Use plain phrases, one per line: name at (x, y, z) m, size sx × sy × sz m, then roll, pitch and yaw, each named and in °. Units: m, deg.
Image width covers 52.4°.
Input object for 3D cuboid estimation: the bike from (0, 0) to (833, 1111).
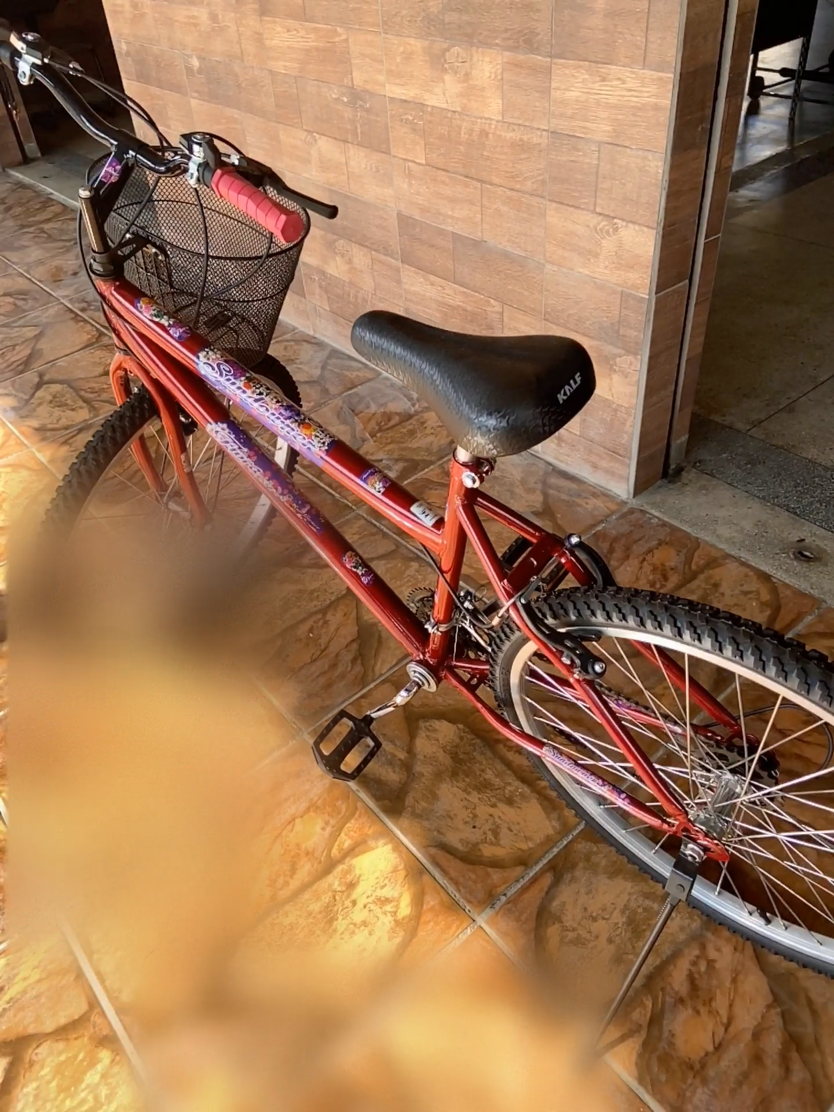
bike at (0.053, -0.049, 1.062) m, size 0.551 × 1.080 × 1.413 m, roll -29°, pitch 44°, yaw -25°
